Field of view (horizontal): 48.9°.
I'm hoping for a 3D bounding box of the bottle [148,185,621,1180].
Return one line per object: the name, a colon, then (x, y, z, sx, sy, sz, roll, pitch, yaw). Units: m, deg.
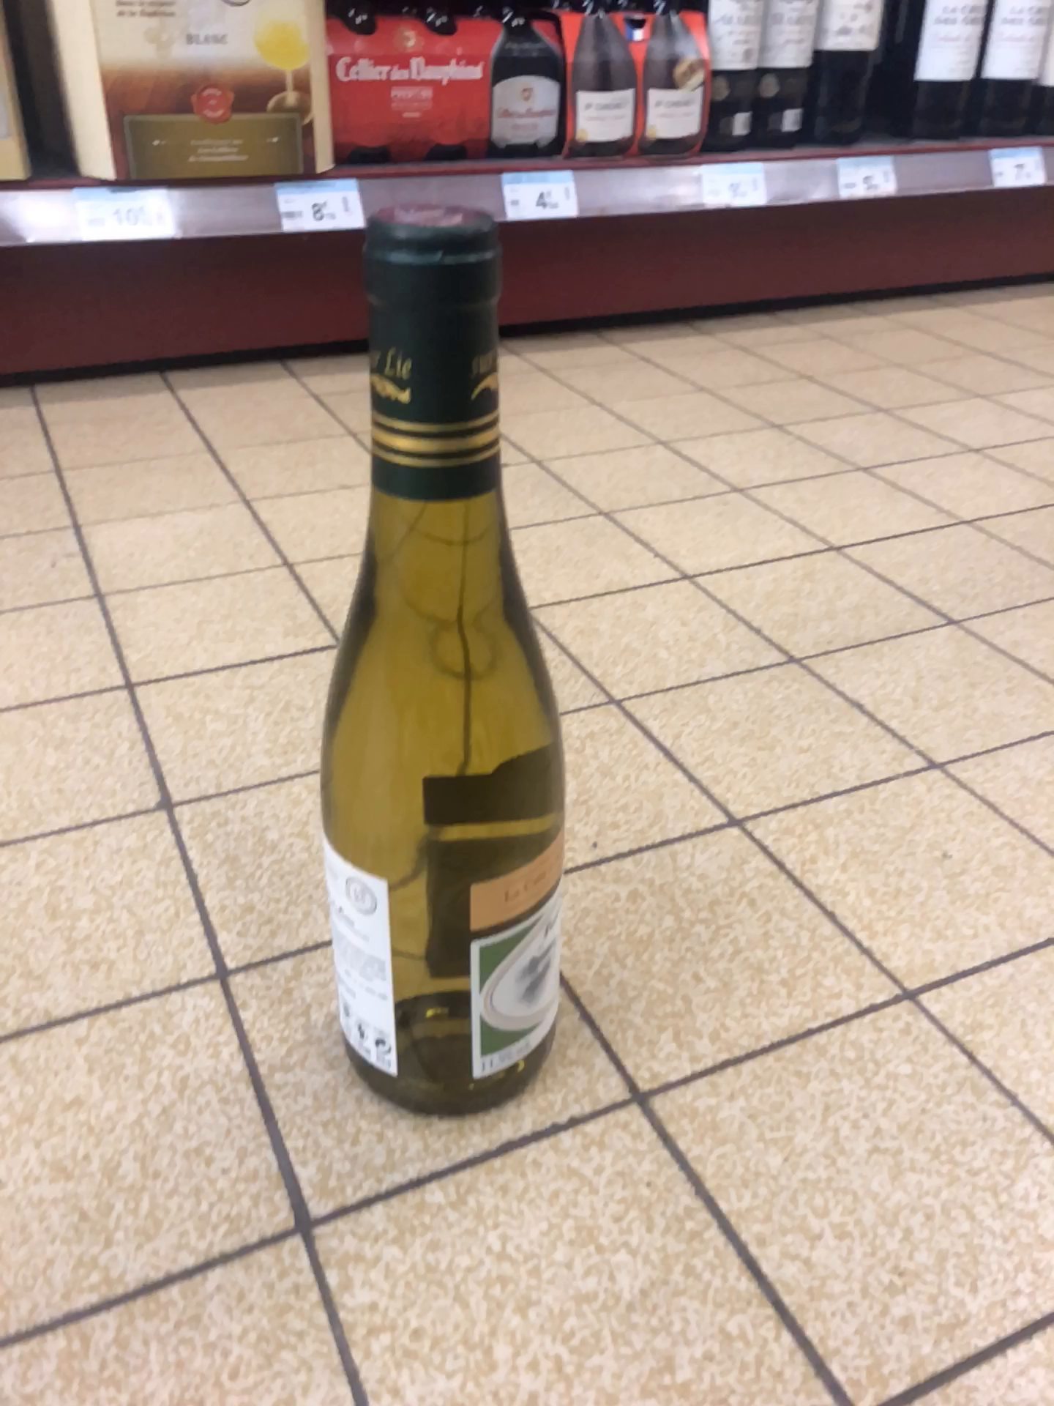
bottle: (-0.029, 0.005, 0.292, 0.080, 0.239, 0.080, 1, 30, -1)
